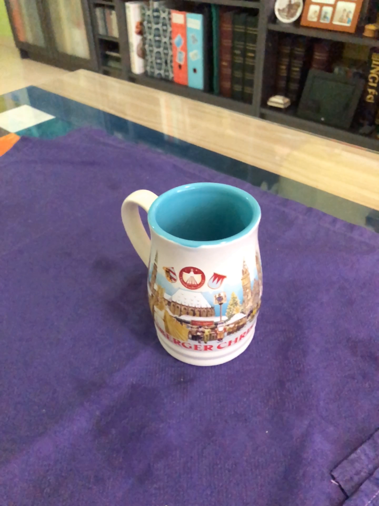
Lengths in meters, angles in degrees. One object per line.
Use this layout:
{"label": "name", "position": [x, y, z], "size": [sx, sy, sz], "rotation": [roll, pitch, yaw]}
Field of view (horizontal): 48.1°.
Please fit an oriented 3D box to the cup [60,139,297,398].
{"label": "cup", "position": [-0.008, 0.004, 0.288], "size": [0.120, 0.110, 0.080], "rotation": [31, 50, 34]}
